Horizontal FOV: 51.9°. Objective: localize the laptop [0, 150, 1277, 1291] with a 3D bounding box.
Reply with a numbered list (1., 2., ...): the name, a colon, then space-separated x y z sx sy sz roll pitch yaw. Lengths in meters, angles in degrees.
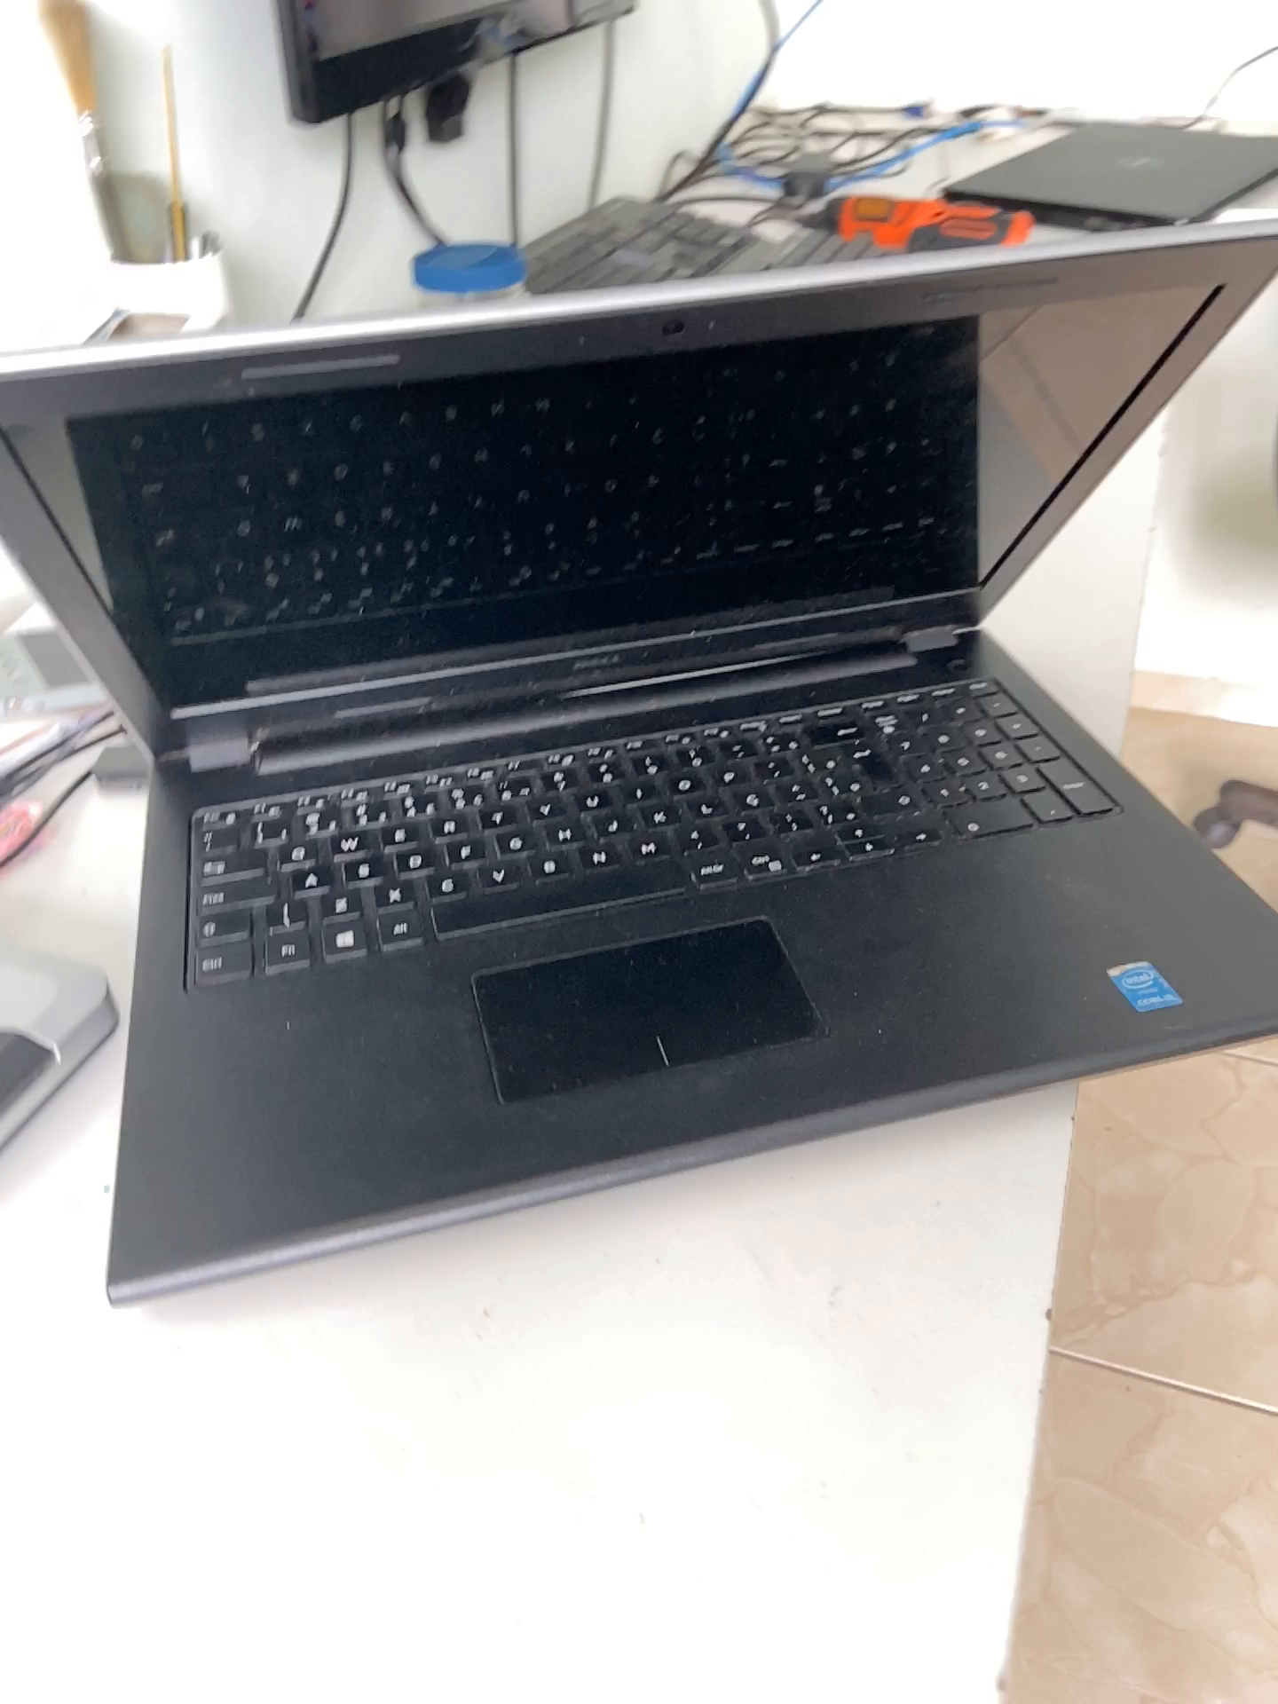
1. laptop: 0.011 -0.075 0.418 0.374 0.204 0.258 -10 38 -11
